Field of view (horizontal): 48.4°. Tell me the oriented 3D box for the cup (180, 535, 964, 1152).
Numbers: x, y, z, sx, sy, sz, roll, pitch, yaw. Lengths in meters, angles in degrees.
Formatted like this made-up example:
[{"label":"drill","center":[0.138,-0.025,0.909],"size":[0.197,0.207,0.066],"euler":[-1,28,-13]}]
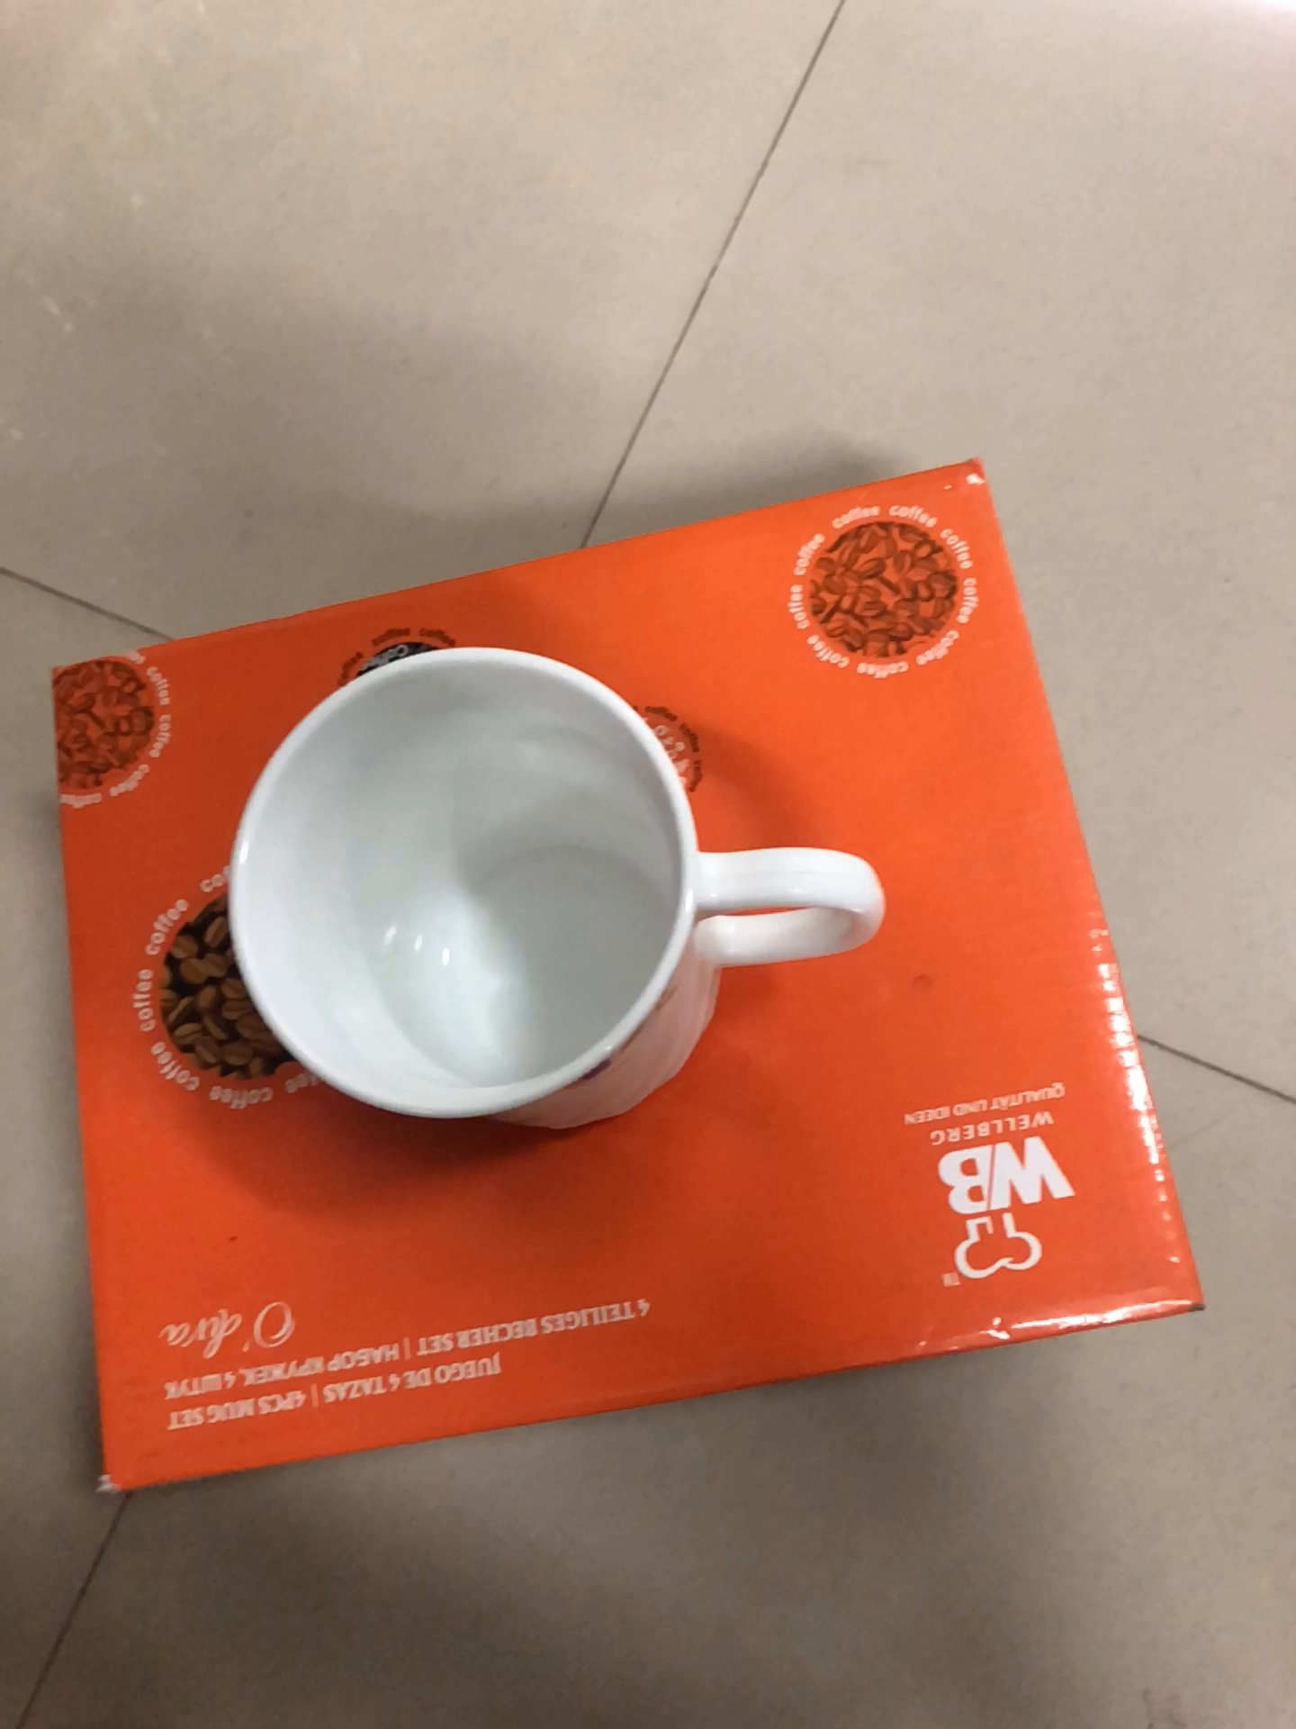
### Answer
[{"label":"cup","center":[-0.008,0.005,0.270],"size":[0.120,0.090,0.090],"euler":[-3,77,8]}]
